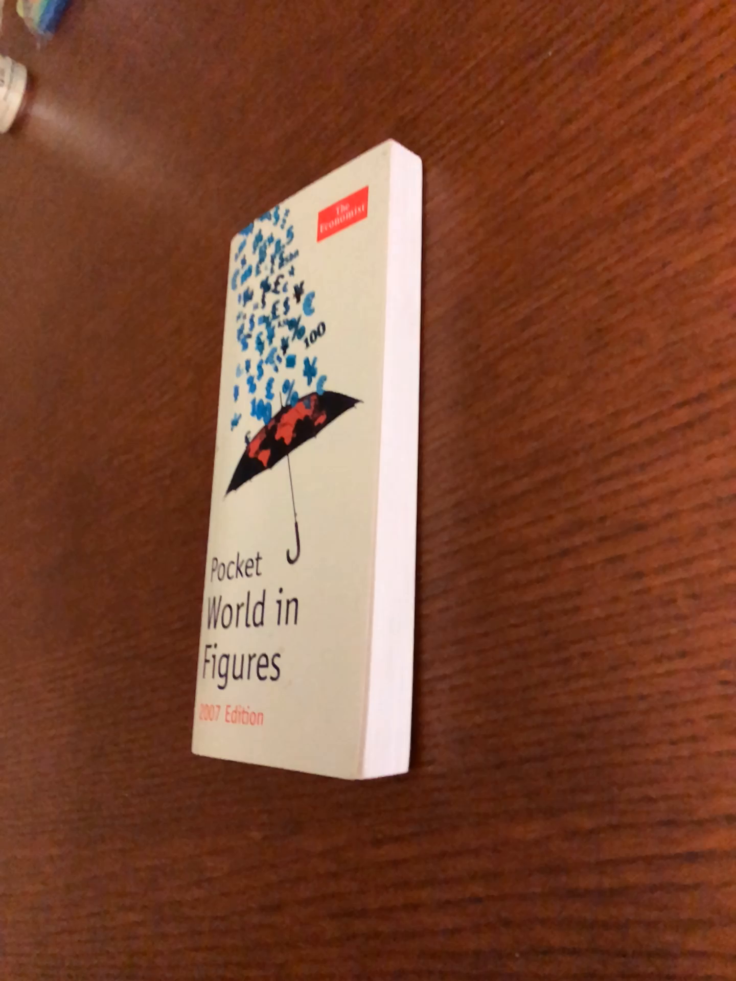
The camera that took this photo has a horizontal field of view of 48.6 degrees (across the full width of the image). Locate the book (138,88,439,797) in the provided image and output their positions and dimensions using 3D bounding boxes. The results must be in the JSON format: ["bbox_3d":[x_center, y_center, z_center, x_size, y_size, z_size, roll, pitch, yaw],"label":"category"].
[{"bbox_3d":[-0.026,-0.013,0.266,0.100,0.030,0.200,-12,70,46],"label":"book"}]
